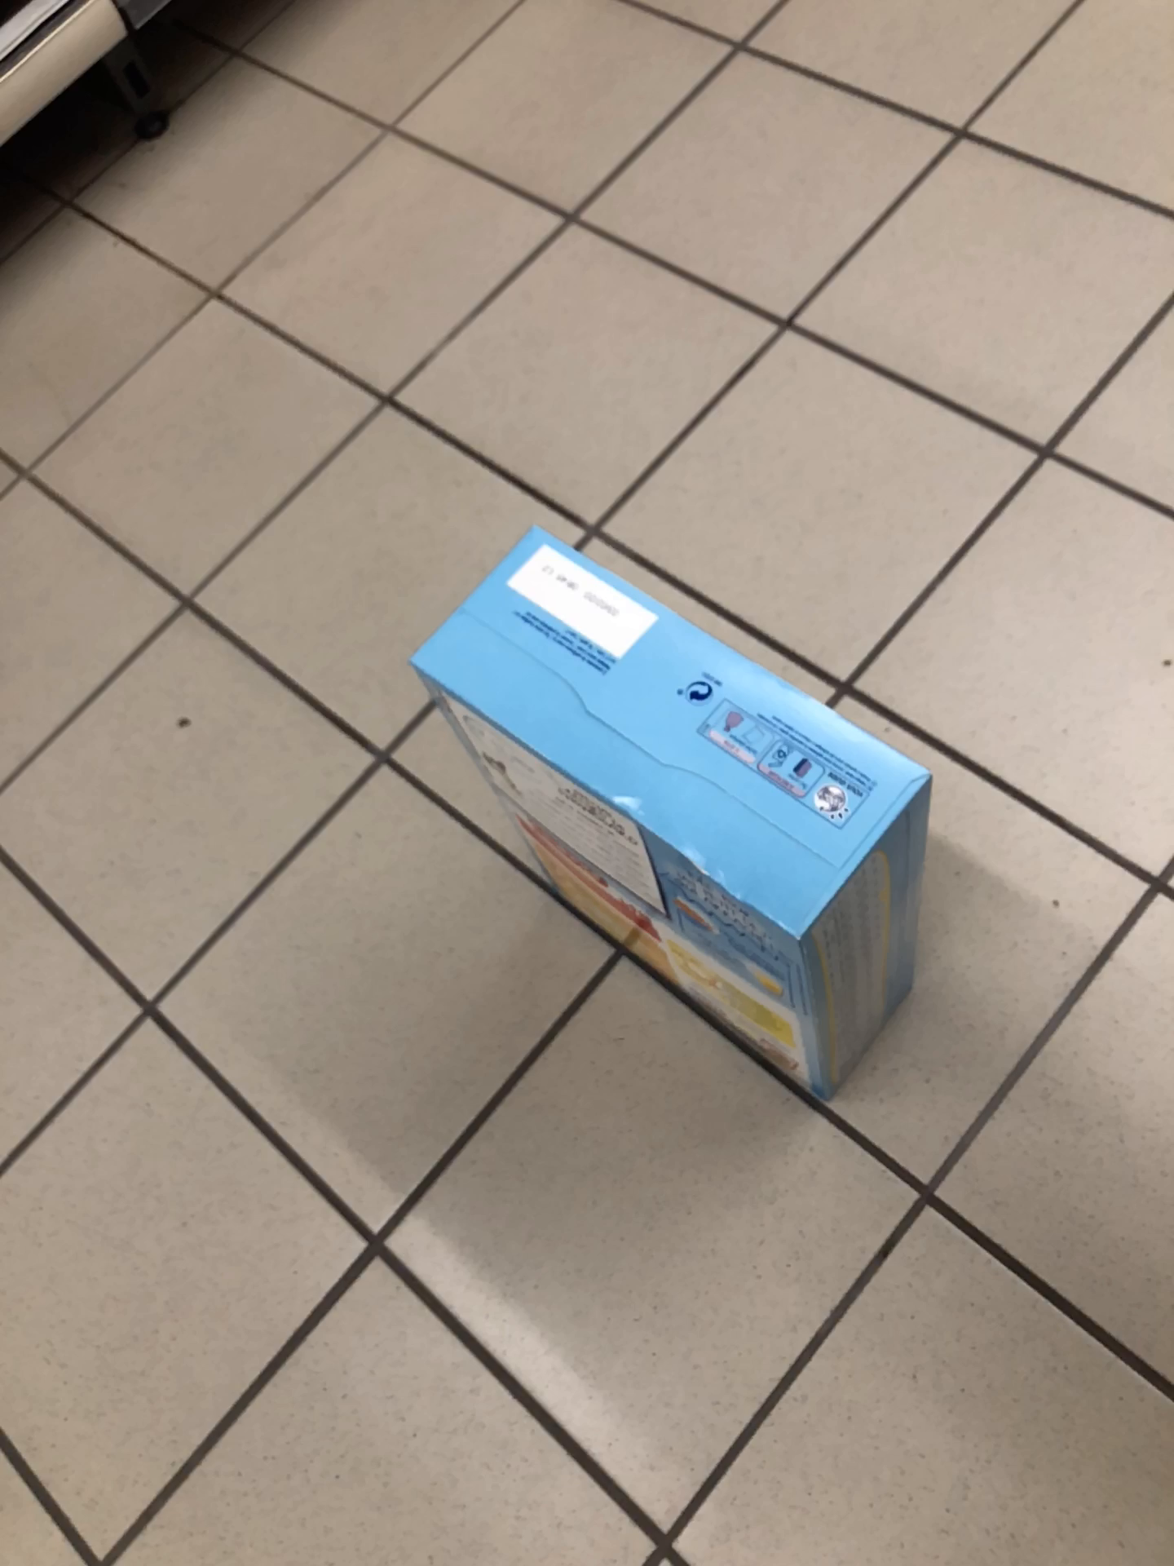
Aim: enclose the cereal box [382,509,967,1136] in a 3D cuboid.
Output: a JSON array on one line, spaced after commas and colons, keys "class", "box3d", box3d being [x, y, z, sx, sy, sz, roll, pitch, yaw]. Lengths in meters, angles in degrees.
[{"class": "cereal box", "box3d": [0.049, 0.034, 0.585, 0.200, 0.269, 0.090, 36, 76, 24]}]
